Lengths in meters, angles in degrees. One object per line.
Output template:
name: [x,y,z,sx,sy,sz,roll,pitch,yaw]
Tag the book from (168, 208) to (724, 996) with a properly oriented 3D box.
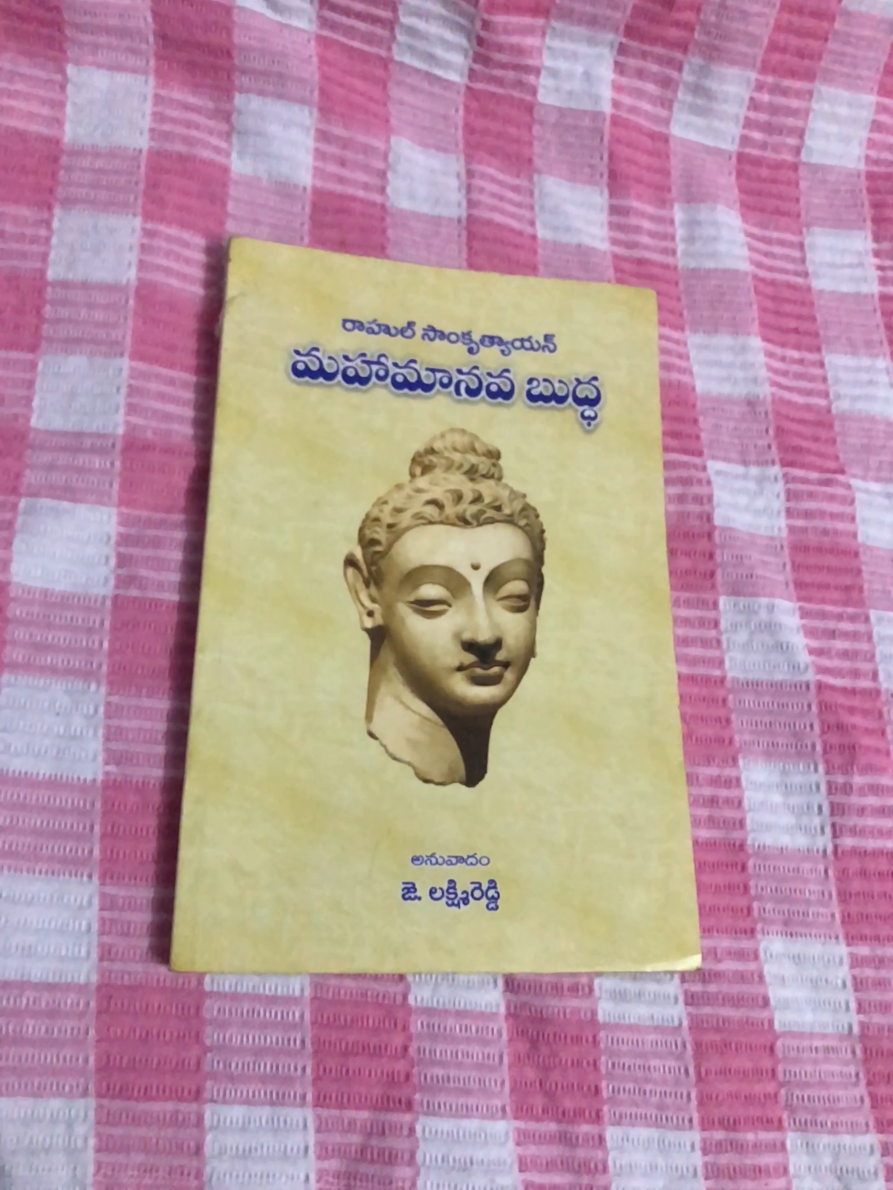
book: [0.003,-0.004,0.288,0.140,0.020,0.220,4,72,-12]
